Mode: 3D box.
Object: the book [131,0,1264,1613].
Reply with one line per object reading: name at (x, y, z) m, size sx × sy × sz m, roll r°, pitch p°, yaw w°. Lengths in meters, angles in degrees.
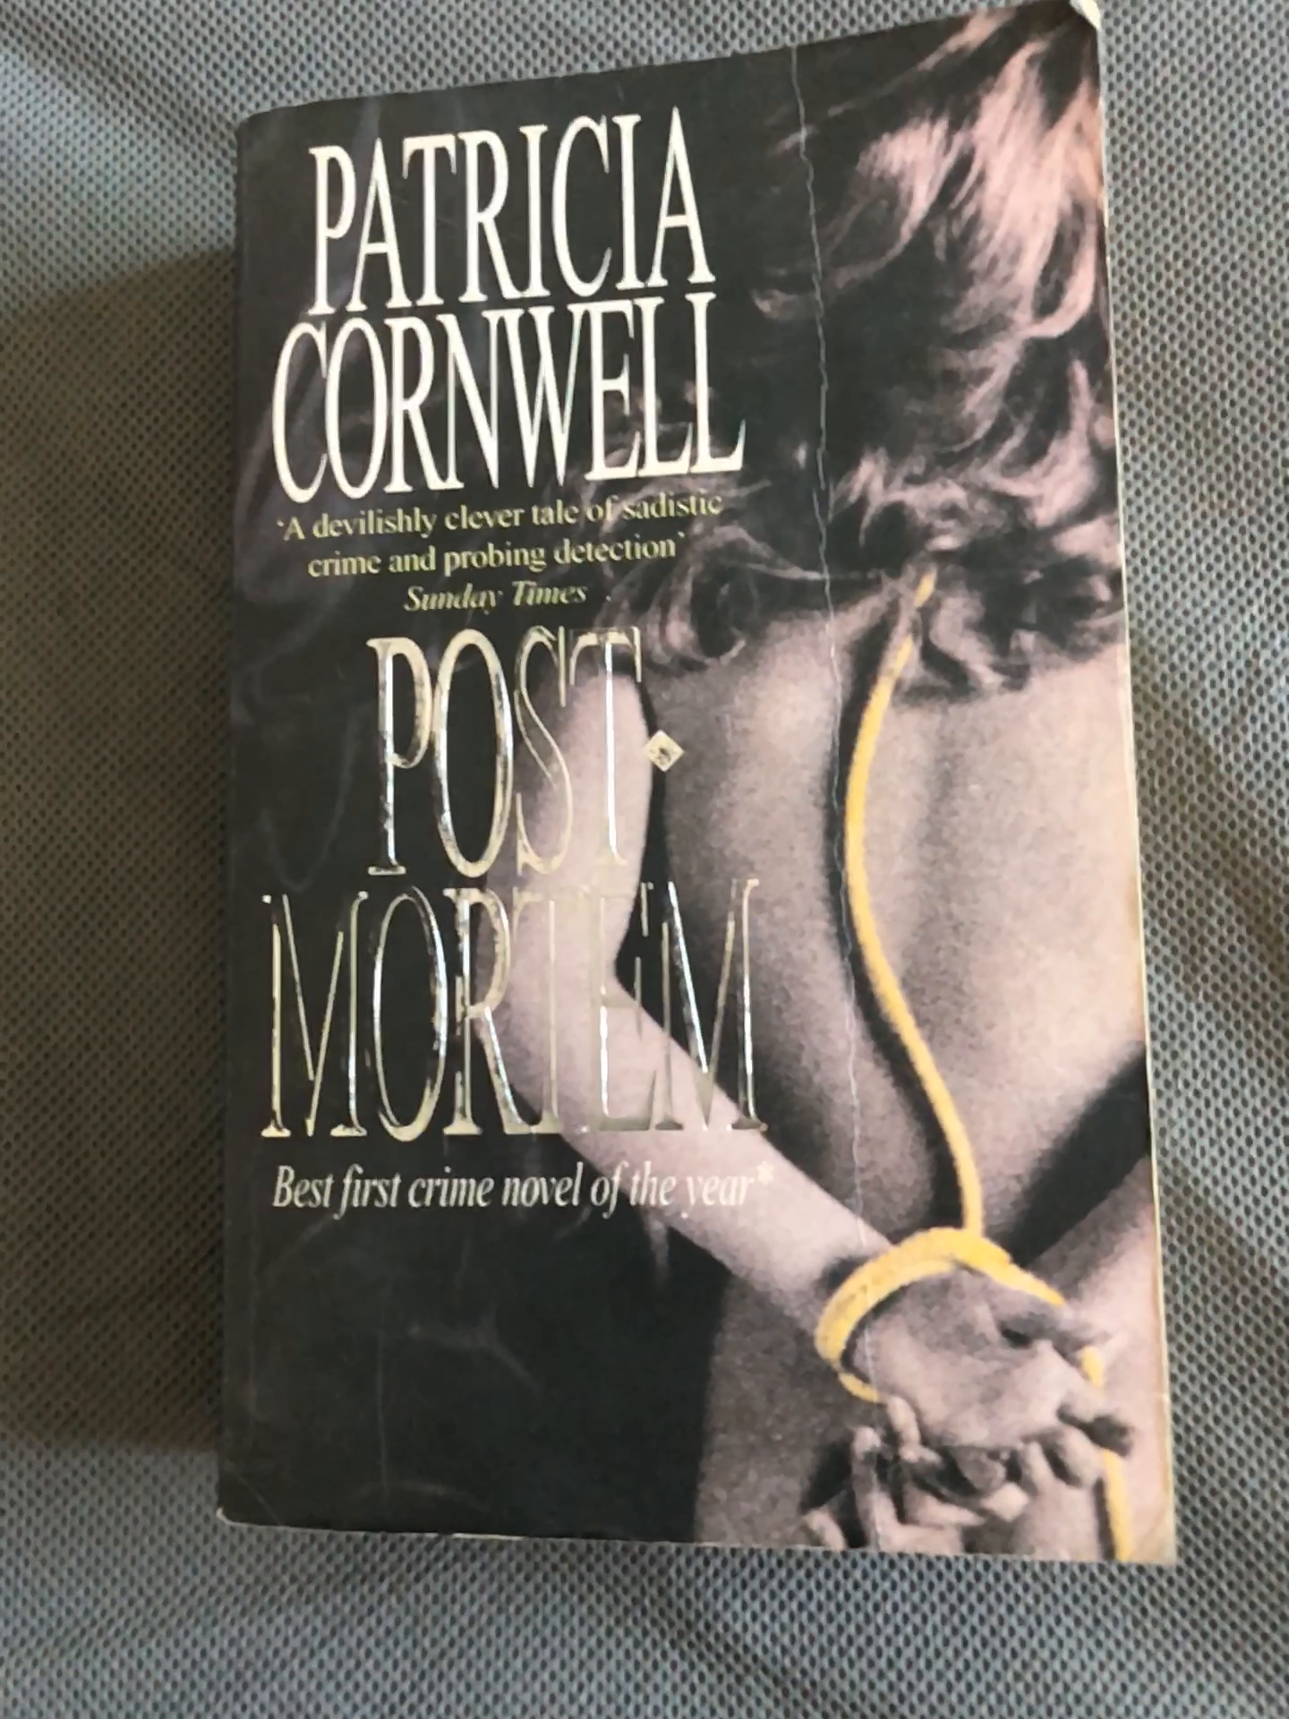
book at (0.004, -0.015, 0.176) m, size 0.110 × 0.050 × 0.180 m, roll -2°, pitch 82°, yaw 7°
